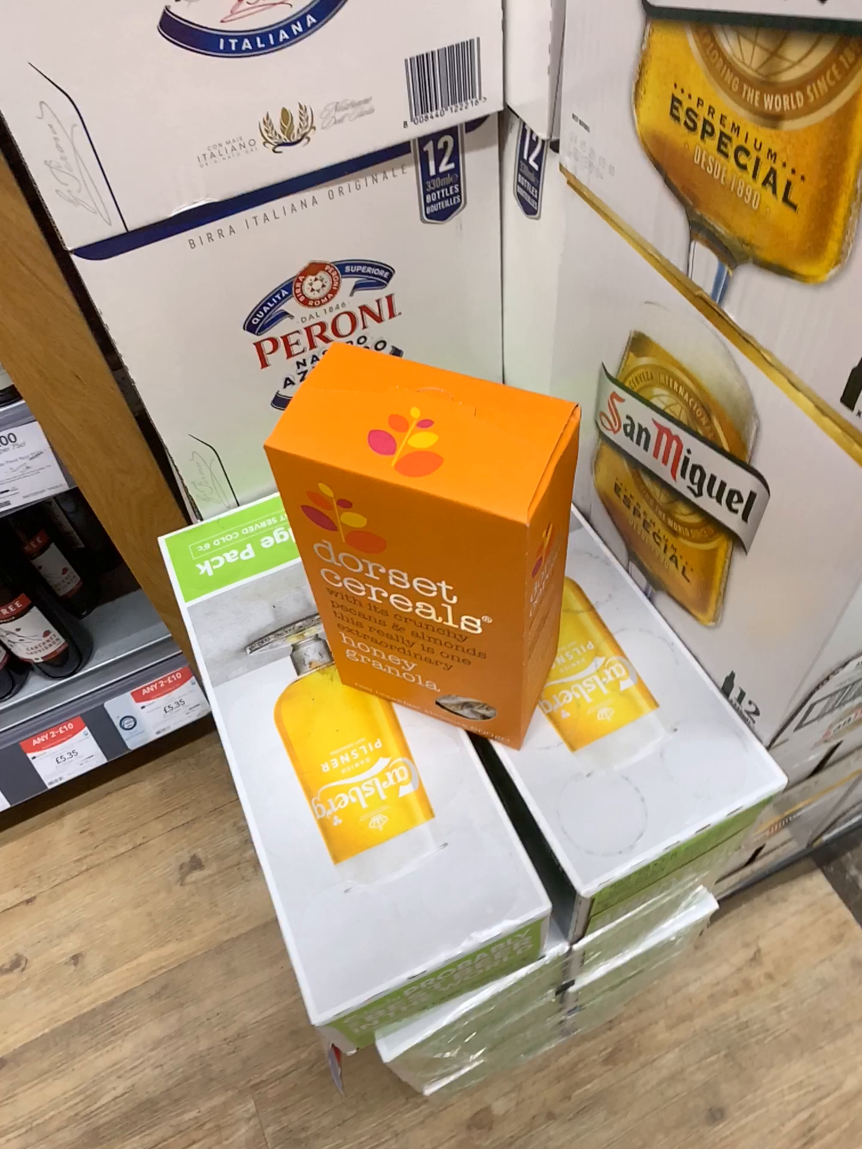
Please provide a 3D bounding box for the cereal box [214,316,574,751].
[{"bbox_3d":[-0.006,-0.008,0.419,0.120,0.199,0.070,18,59,17],"label":"cereal box"}]
